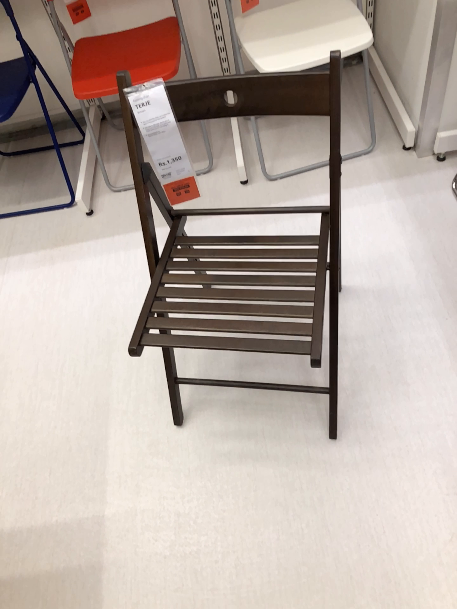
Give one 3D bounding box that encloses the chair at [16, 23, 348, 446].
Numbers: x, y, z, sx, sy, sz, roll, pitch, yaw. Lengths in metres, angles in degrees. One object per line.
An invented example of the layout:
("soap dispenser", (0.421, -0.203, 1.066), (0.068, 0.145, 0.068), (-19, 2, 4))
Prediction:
("chair", (0.021, -0.081, 1.122), (0.460, 0.776, 0.502), (1, 56, 13))
